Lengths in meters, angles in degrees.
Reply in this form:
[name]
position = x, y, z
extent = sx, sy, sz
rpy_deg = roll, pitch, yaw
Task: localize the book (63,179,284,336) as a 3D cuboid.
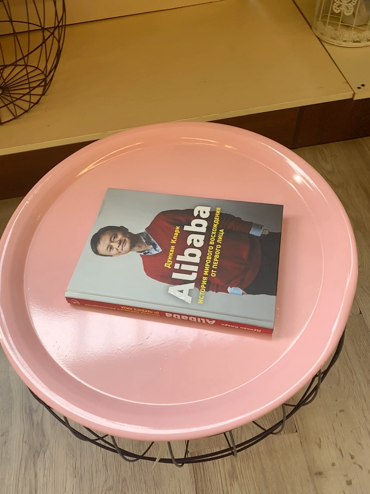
[book]
position = -0.005, 0.002, 0.477
extent = 0.240, 0.026, 0.180
rpy_deg = 8, 58, 10
